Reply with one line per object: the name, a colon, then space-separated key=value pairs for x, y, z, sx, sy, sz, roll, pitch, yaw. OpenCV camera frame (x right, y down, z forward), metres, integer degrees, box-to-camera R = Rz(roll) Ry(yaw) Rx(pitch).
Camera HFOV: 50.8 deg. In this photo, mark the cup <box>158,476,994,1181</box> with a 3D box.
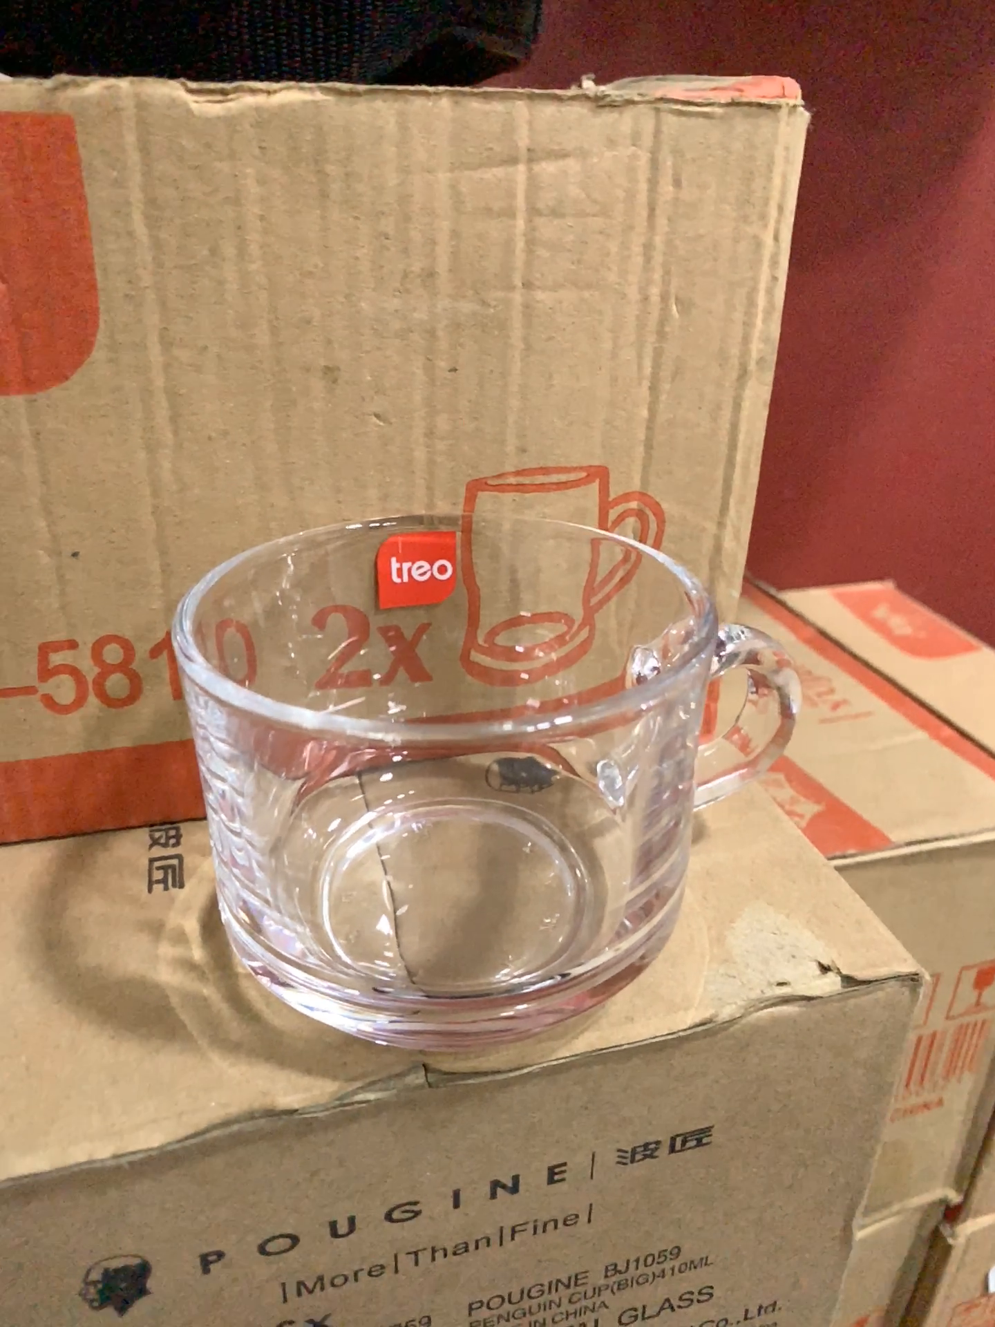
cup: x=0.007 y=0.015 z=0.162 sx=0.104 sy=0.061 sz=0.072 roll=-7 pitch=28 yaw=-17
